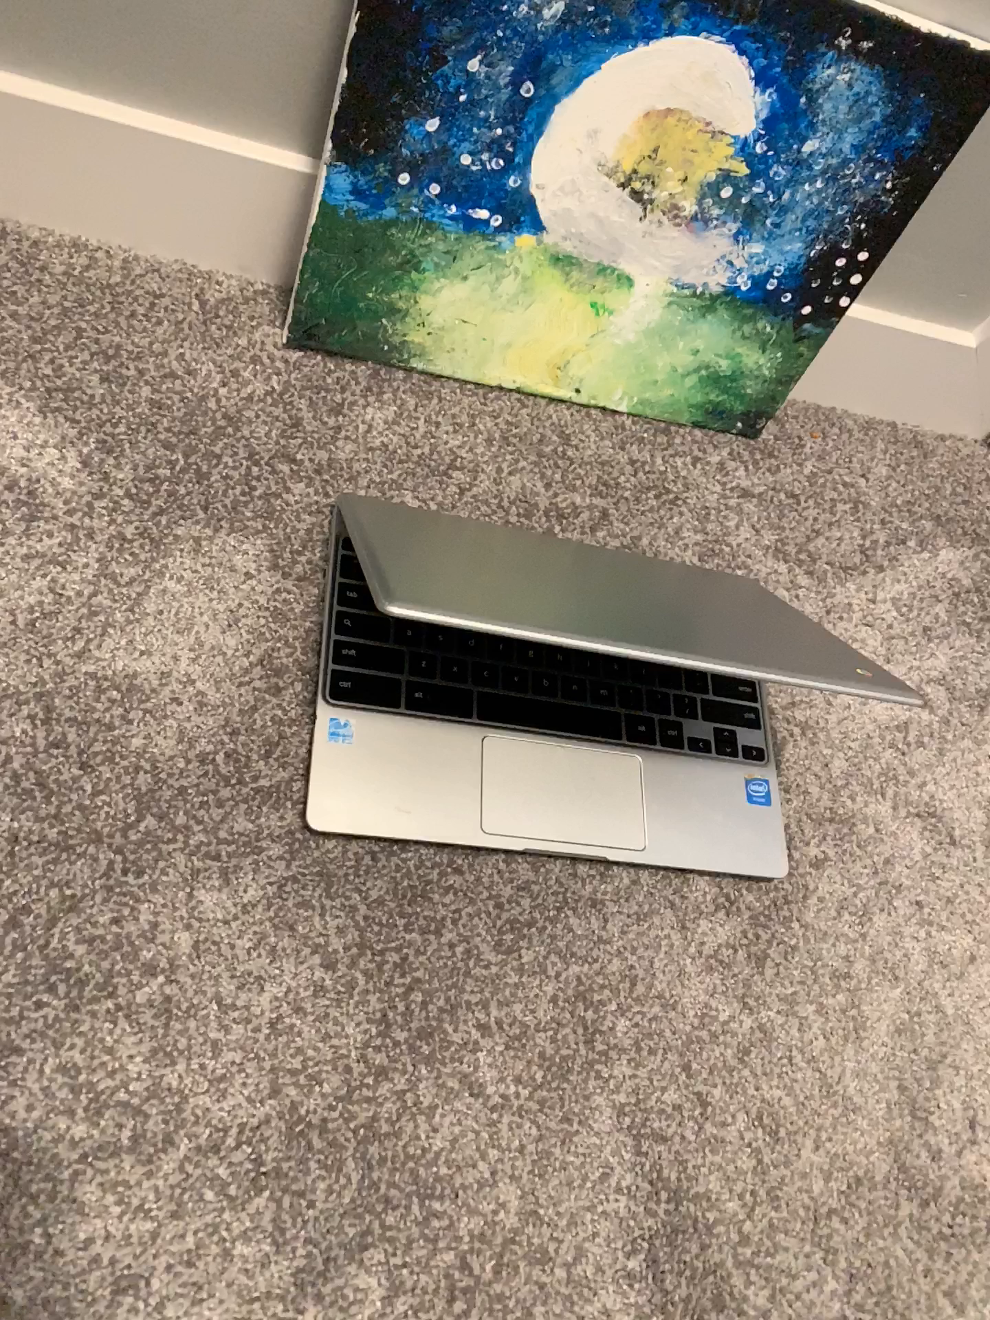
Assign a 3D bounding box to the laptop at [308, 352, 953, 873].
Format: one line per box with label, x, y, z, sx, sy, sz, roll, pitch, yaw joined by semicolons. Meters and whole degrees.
laptop;0.066;-0.009;0.558;0.295;0.144;0.200;9;63;-18
